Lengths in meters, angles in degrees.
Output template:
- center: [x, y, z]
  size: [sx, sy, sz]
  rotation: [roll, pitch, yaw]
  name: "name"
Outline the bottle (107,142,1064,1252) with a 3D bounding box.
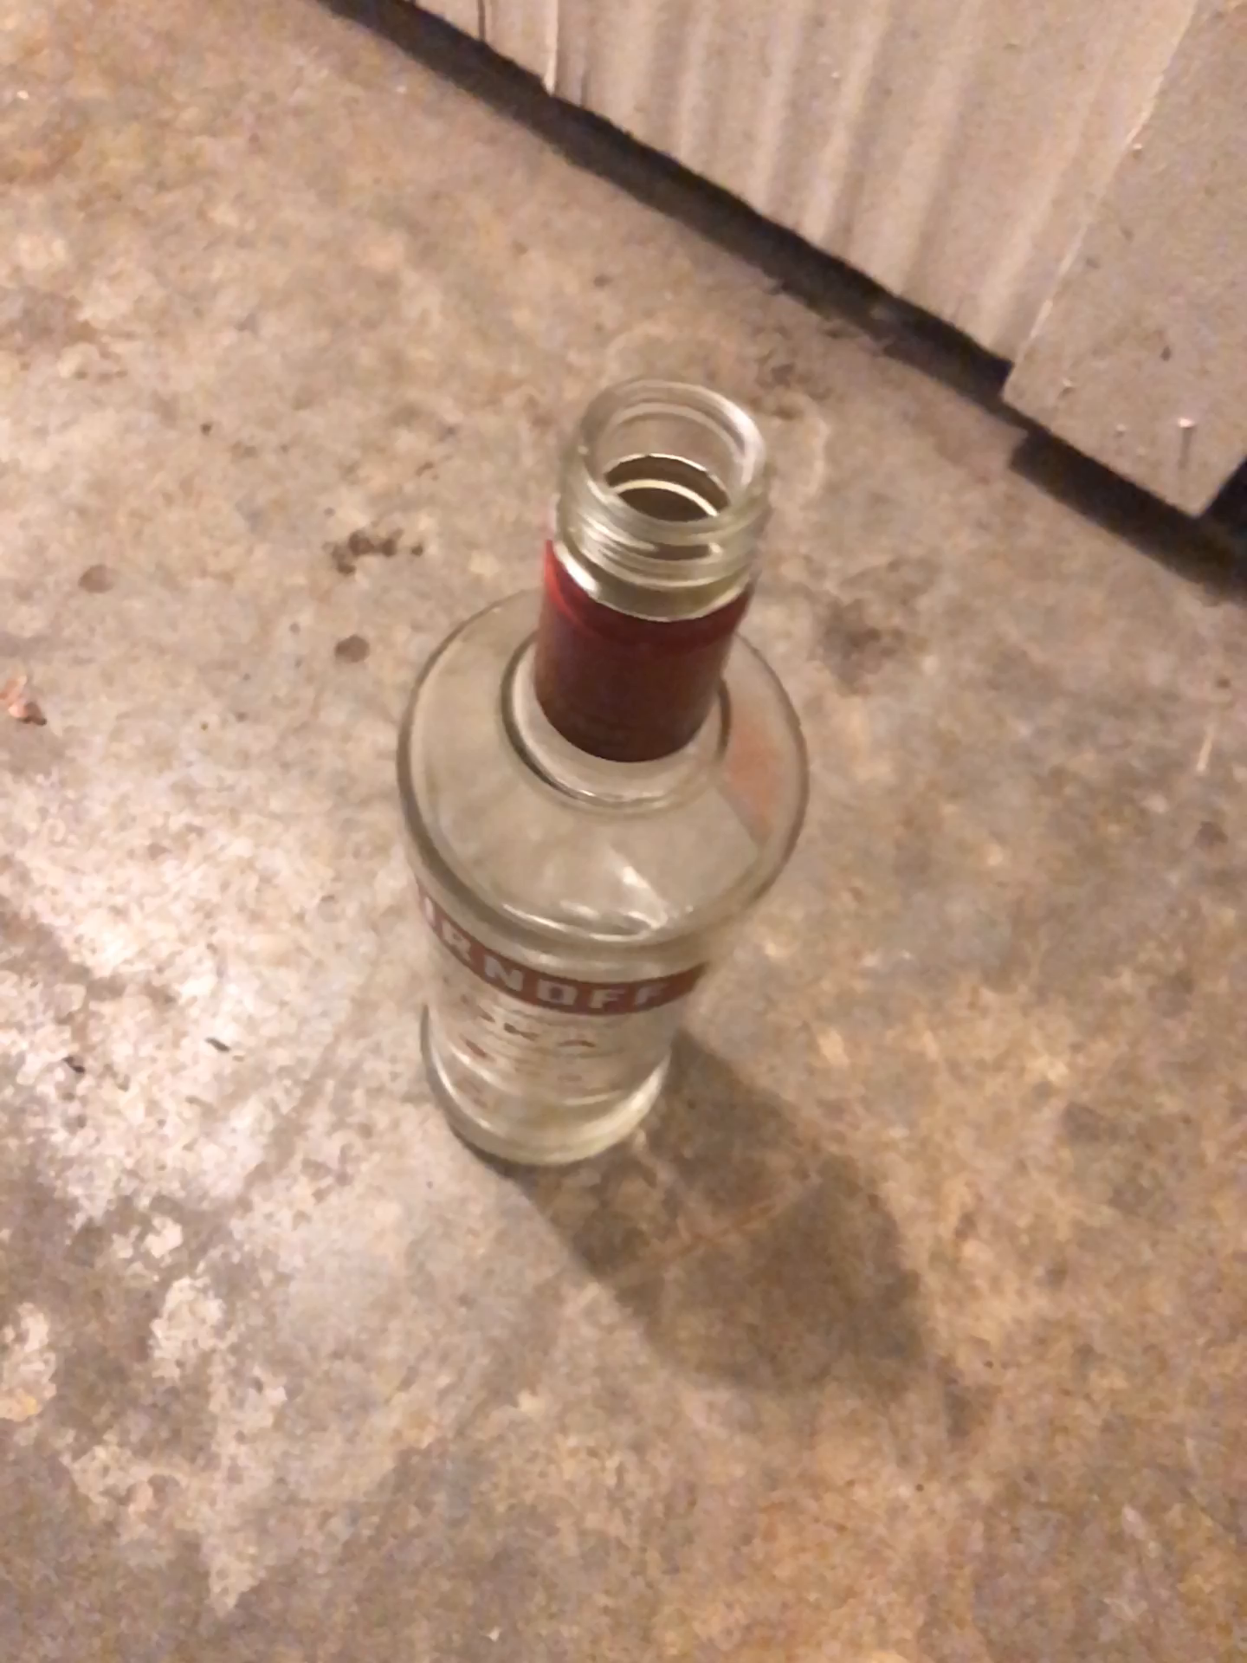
- center: [-0.016, 0.015, 0.296]
  size: [0.080, 0.289, 0.080]
  rotation: [2, 67, -5]
  name: "bottle"
